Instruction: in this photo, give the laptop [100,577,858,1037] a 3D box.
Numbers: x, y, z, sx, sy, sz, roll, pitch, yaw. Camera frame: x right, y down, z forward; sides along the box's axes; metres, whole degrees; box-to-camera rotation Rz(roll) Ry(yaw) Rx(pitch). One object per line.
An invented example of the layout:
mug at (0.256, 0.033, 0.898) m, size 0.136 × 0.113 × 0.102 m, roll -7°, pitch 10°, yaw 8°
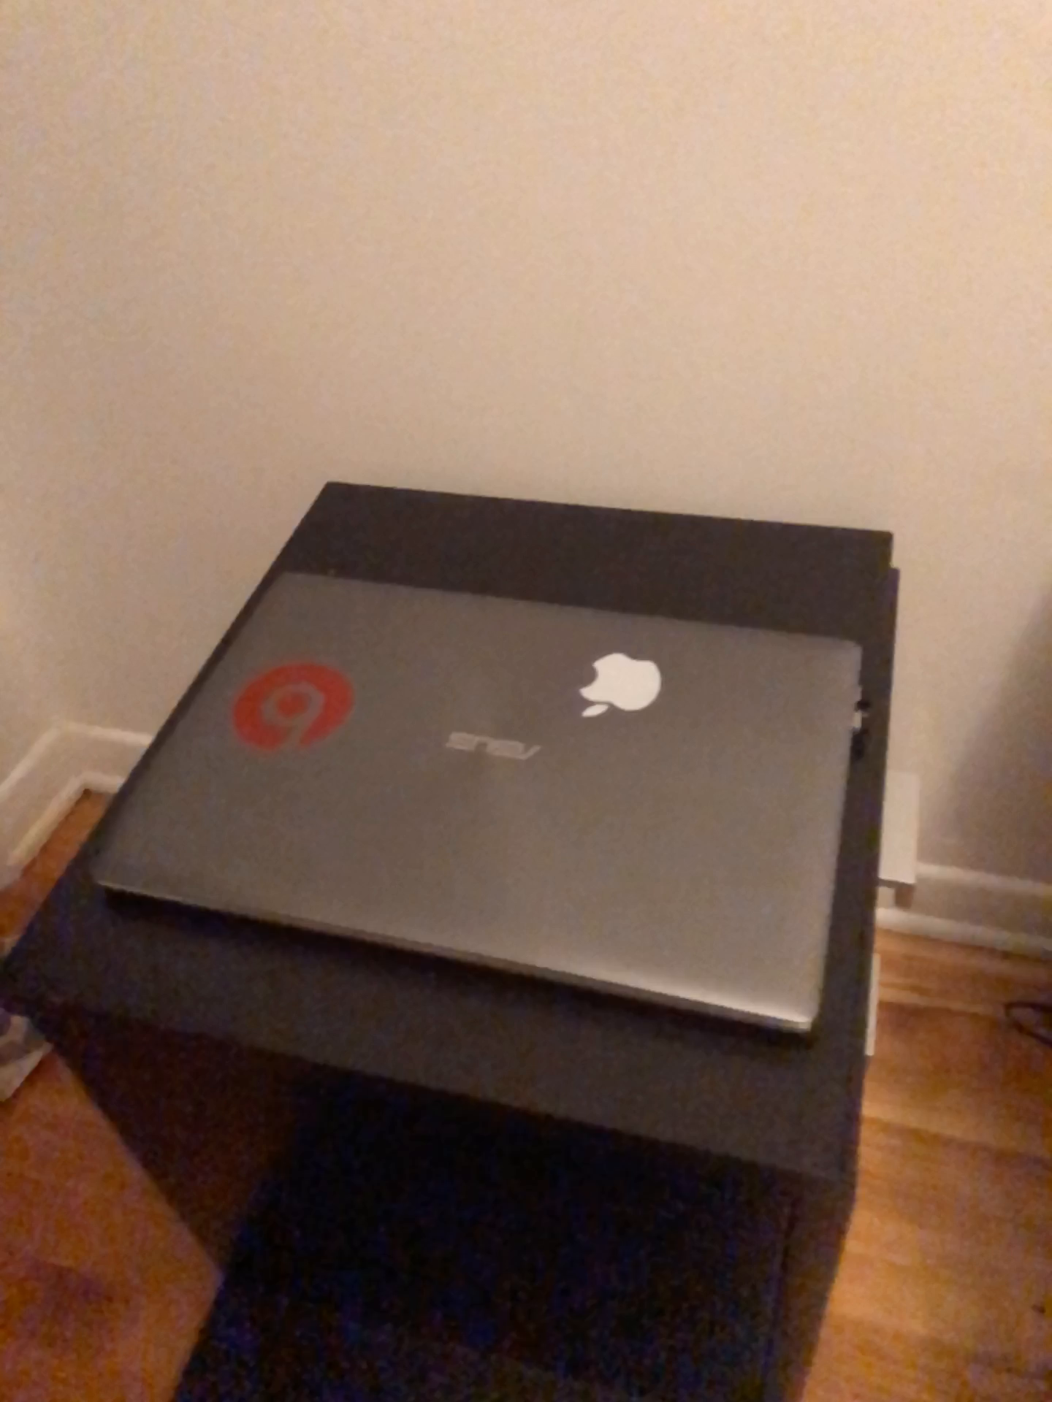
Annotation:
laptop at (-0.015, 0.034, 0.646) m, size 0.373 × 0.010 × 0.250 m, roll 8°, pitch 47°, yaw 16°
